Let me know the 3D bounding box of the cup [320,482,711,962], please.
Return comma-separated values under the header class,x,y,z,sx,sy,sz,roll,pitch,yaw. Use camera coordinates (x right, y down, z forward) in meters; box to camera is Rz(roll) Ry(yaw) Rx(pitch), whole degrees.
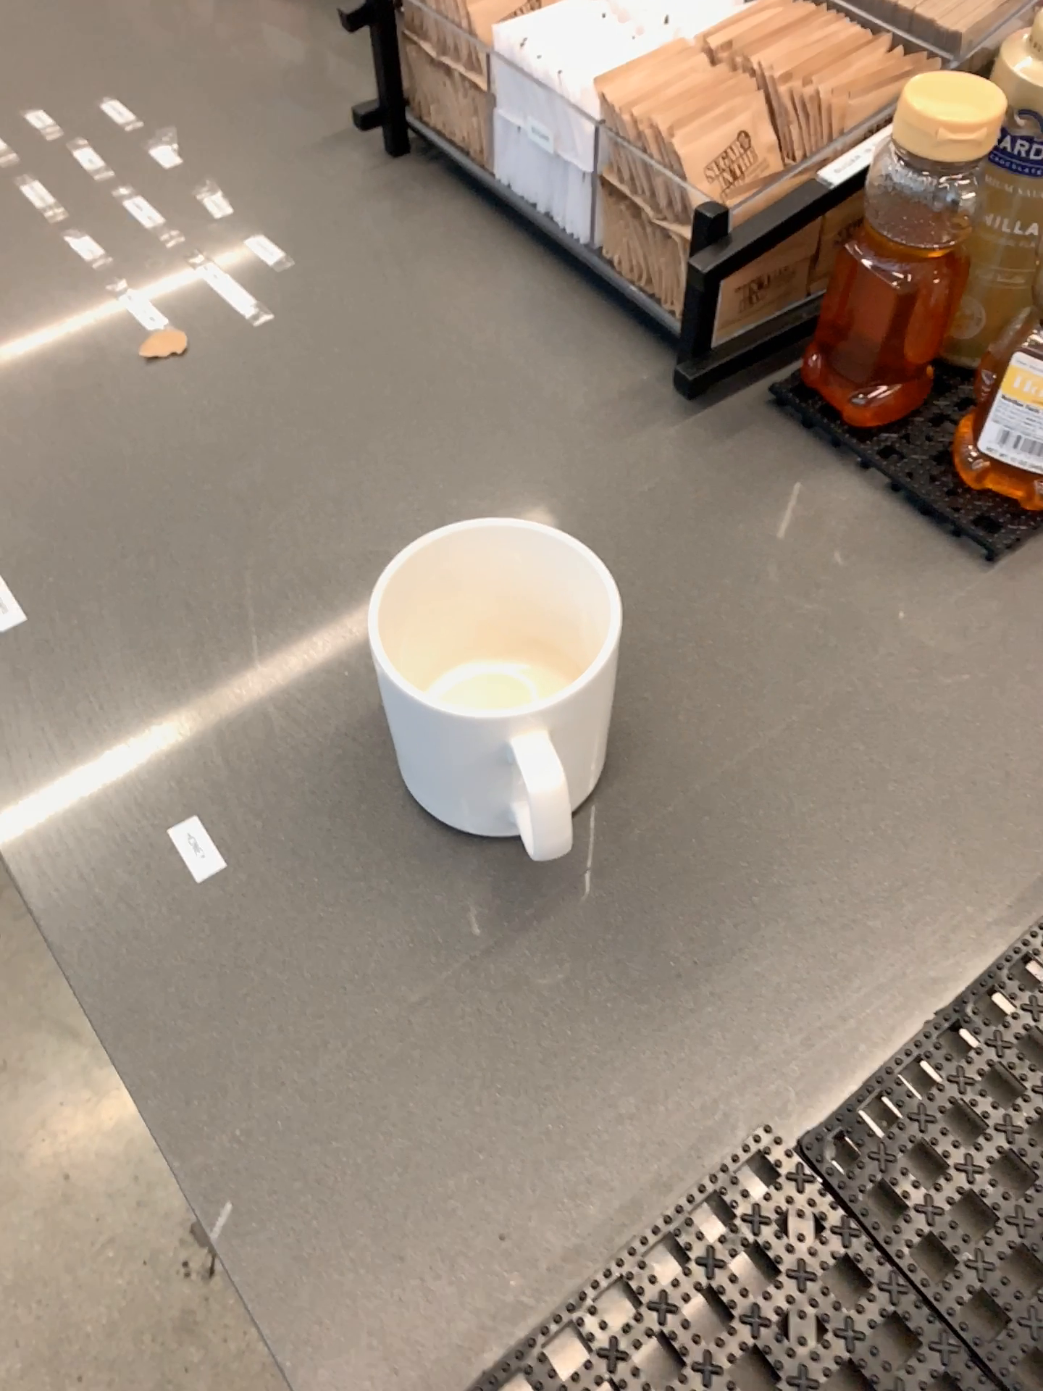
class,x,y,z,sx,sy,sz,roll,pitch,yaw
cup,-0.006,0.009,0.380,0.090,0.090,0.121,-17,57,-11
